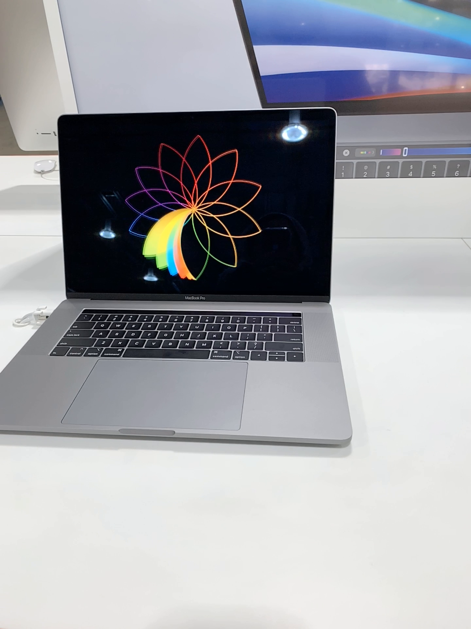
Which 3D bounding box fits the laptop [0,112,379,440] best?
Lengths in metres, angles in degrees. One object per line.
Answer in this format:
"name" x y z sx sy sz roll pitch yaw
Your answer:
"laptop" -0.063 -0.069 0.479 0.330 0.205 0.304 1 29 5
